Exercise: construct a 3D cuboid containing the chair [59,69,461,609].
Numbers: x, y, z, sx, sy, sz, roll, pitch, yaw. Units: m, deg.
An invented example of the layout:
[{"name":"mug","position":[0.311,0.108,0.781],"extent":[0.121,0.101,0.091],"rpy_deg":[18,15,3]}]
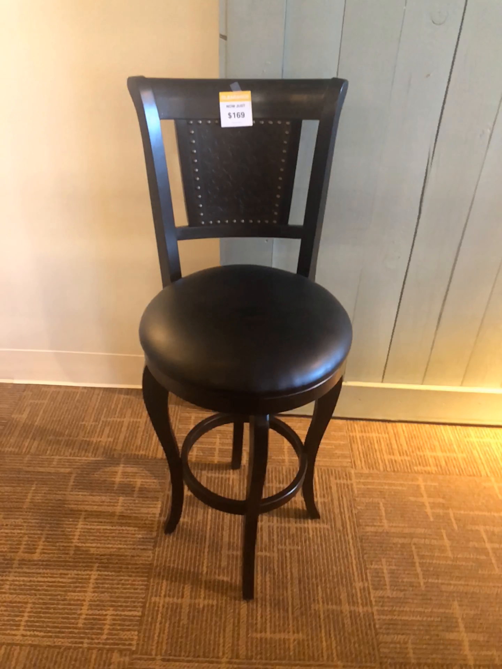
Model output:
[{"name":"chair","position":[-0.021,0.048,1.345],"extent":[0.560,1.150,0.613],"rpy_deg":[0,35,-4]}]
